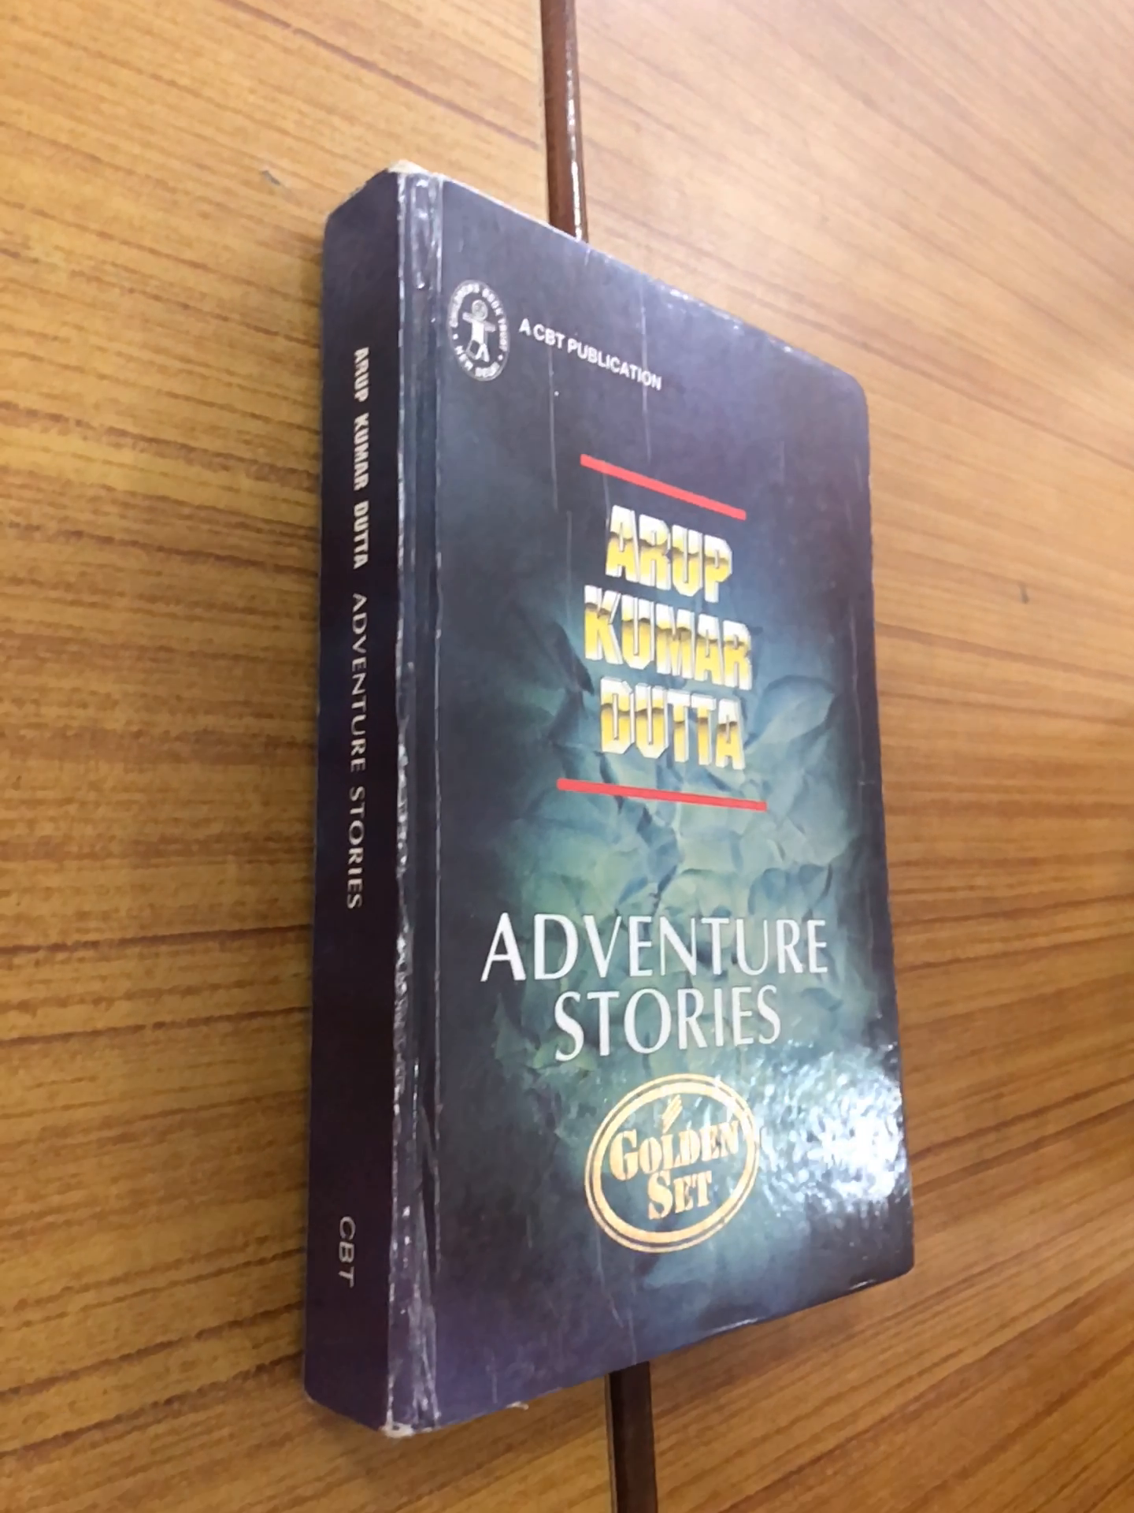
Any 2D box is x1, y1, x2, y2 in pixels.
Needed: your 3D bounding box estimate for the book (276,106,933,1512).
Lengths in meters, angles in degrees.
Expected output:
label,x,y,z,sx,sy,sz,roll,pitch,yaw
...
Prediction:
label,x,y,z,sx,sy,sz,roll,pitch,yaw
book,0.017,0.009,0.259,0.146,0.036,0.218,6,81,-44
